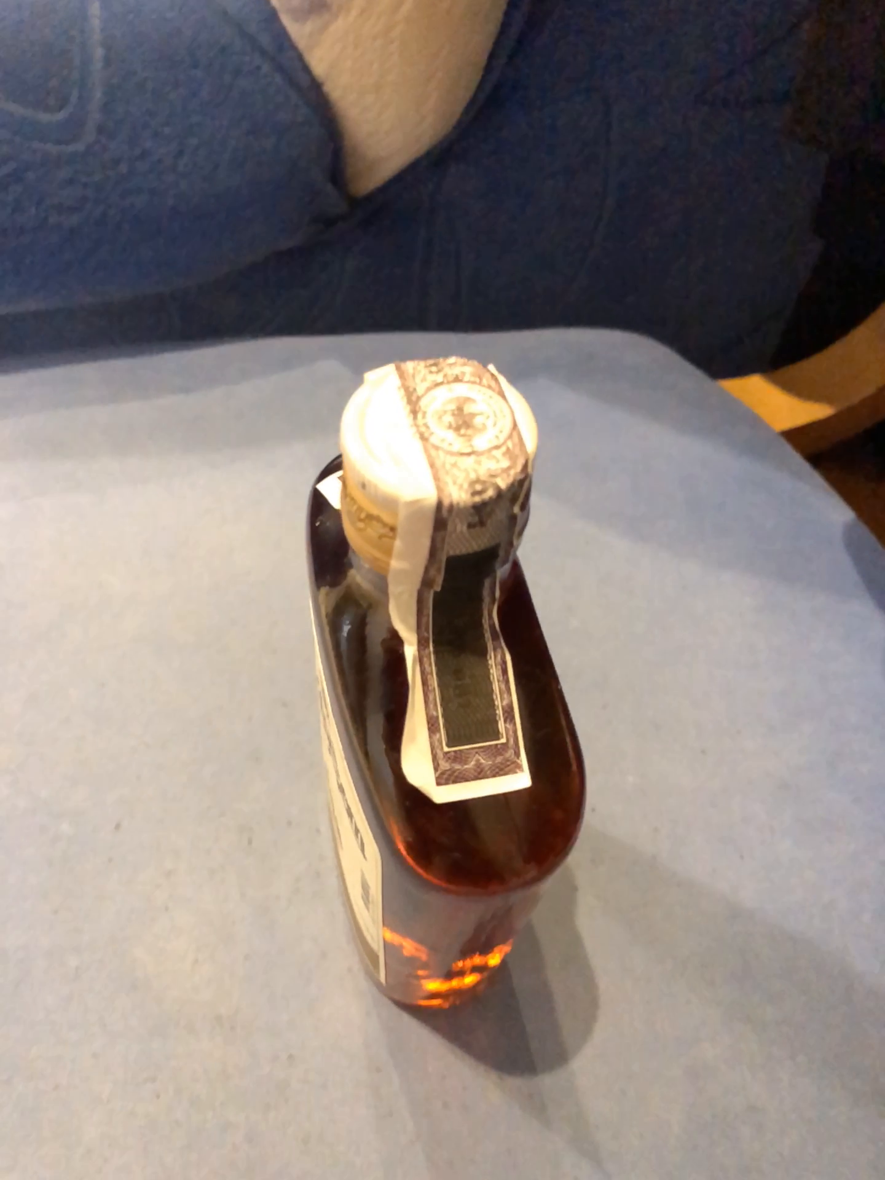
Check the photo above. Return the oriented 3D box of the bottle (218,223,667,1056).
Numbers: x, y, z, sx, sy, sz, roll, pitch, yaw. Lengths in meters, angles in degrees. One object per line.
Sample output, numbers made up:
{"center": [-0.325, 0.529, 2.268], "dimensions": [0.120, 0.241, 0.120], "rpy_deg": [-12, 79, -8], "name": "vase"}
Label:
{"center": [-0.004, 0.030, 0.209], "dimensions": [0.041, 0.179, 0.090], "rpy_deg": [-12, 57, -7], "name": "bottle"}
